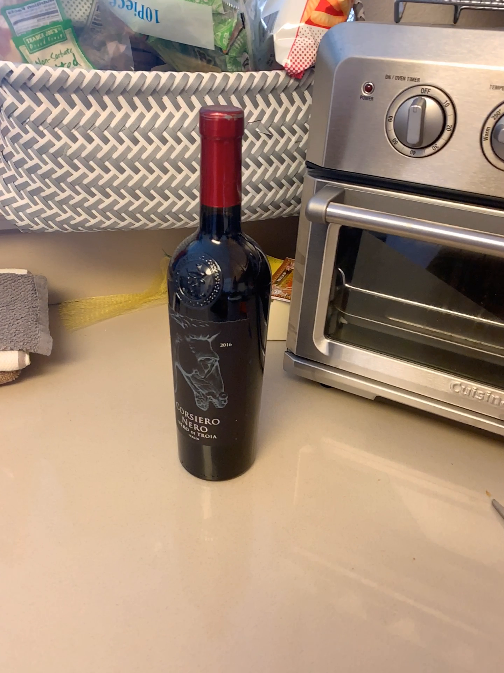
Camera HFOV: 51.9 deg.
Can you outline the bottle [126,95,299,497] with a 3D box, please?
[{"bbox_3d":[-0.027,-0.018,0.381,0.080,0.278,0.070,15,33,19],"label":"bottle"}]
